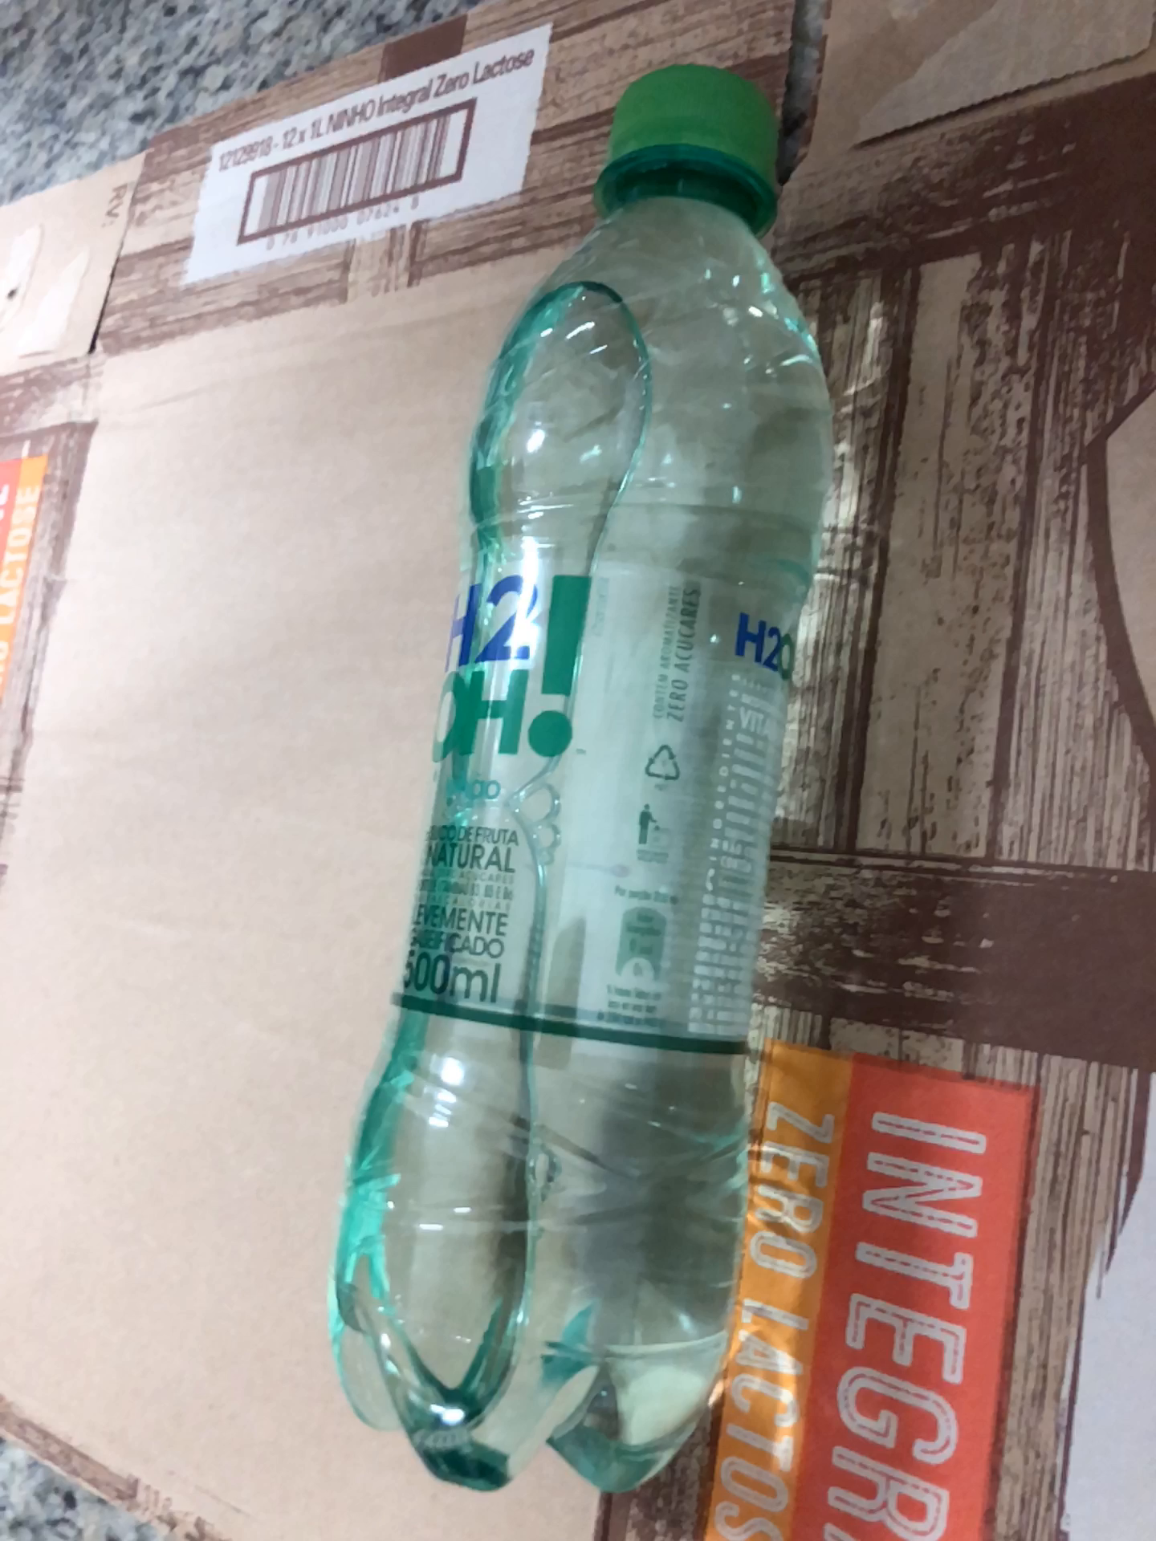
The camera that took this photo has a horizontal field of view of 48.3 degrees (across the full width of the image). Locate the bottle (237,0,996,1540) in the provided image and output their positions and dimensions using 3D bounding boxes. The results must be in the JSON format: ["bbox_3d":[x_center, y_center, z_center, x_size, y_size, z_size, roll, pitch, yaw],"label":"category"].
[{"bbox_3d":[0.012,-0.012,0.209,0.070,0.050,0.250,3,79,36],"label":"bottle"}]
